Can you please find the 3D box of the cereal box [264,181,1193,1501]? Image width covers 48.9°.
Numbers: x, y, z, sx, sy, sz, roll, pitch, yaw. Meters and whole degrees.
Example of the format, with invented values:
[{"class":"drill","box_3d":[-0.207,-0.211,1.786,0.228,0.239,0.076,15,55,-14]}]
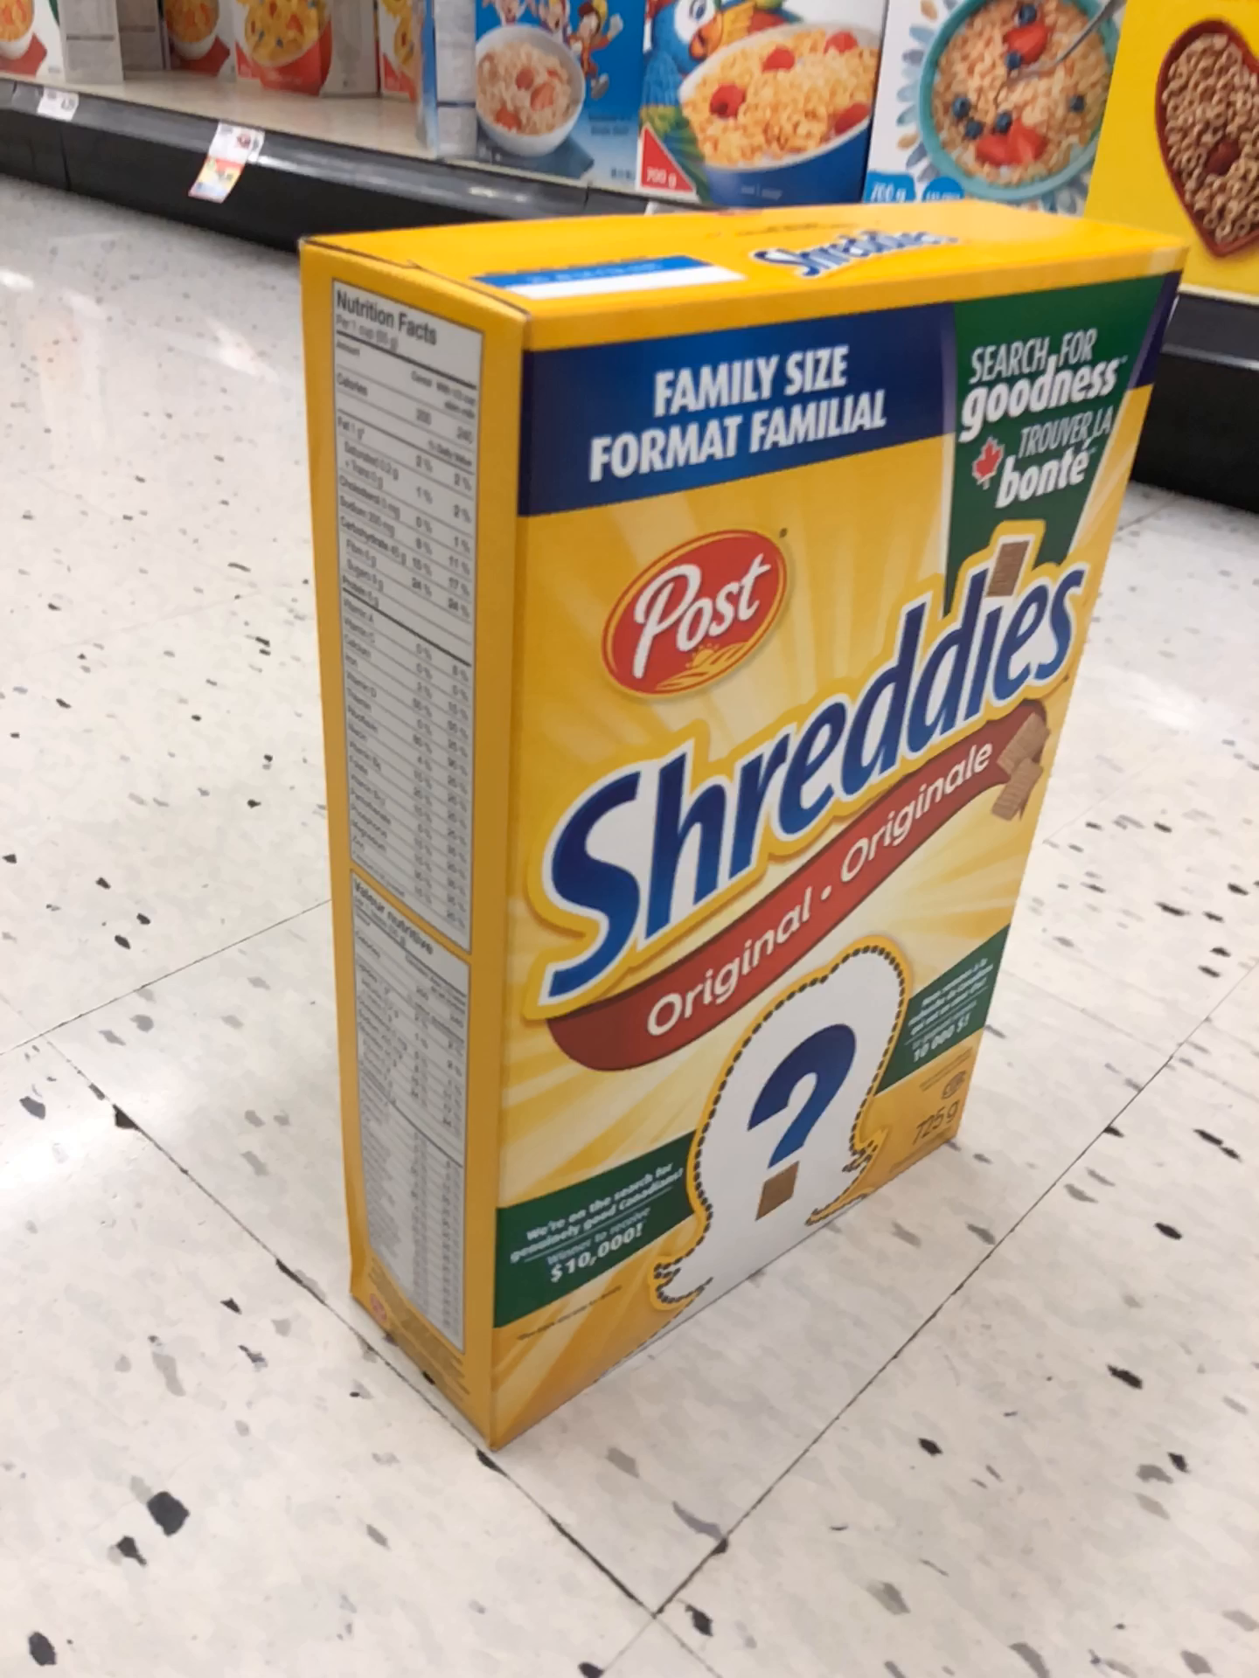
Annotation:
[{"class":"cereal box","box_3d":[0.019,0.002,0.380,0.211,0.318,0.070,-22,43,-37]}]
